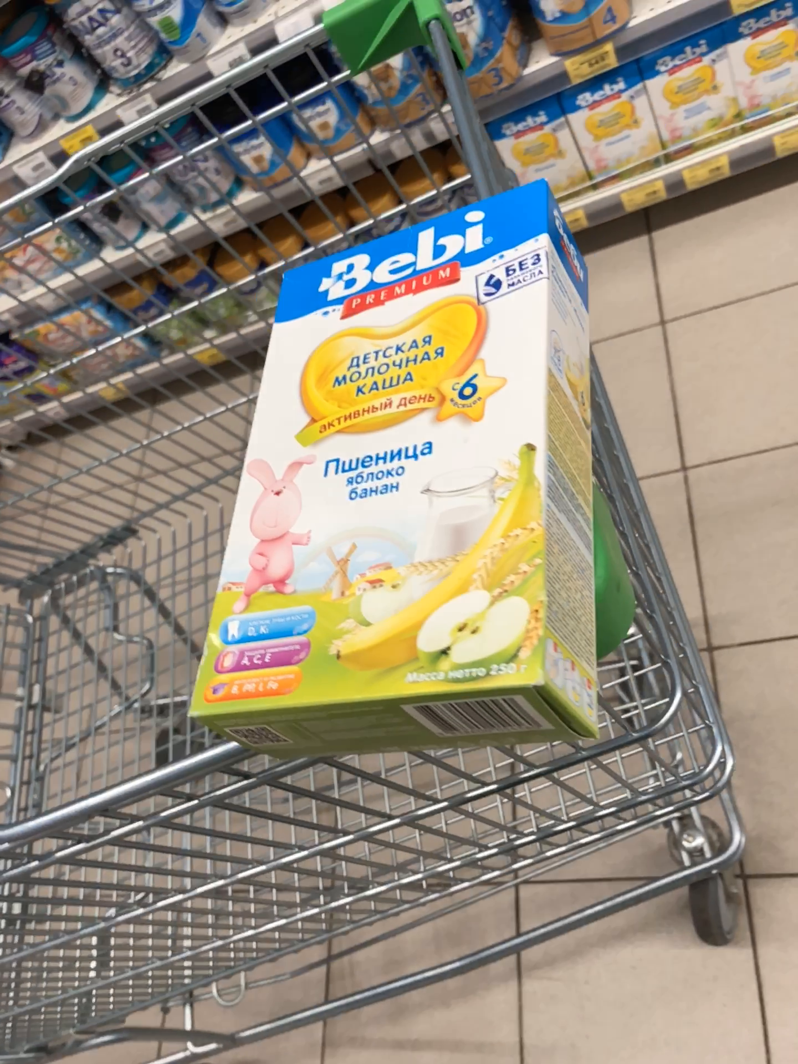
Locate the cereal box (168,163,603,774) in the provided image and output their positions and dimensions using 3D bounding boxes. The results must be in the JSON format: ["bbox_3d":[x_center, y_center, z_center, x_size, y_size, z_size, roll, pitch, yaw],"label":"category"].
[{"bbox_3d":[0.003,-0.024,0.329,0.130,0.050,0.210,-11,56,28],"label":"cereal box"}]
